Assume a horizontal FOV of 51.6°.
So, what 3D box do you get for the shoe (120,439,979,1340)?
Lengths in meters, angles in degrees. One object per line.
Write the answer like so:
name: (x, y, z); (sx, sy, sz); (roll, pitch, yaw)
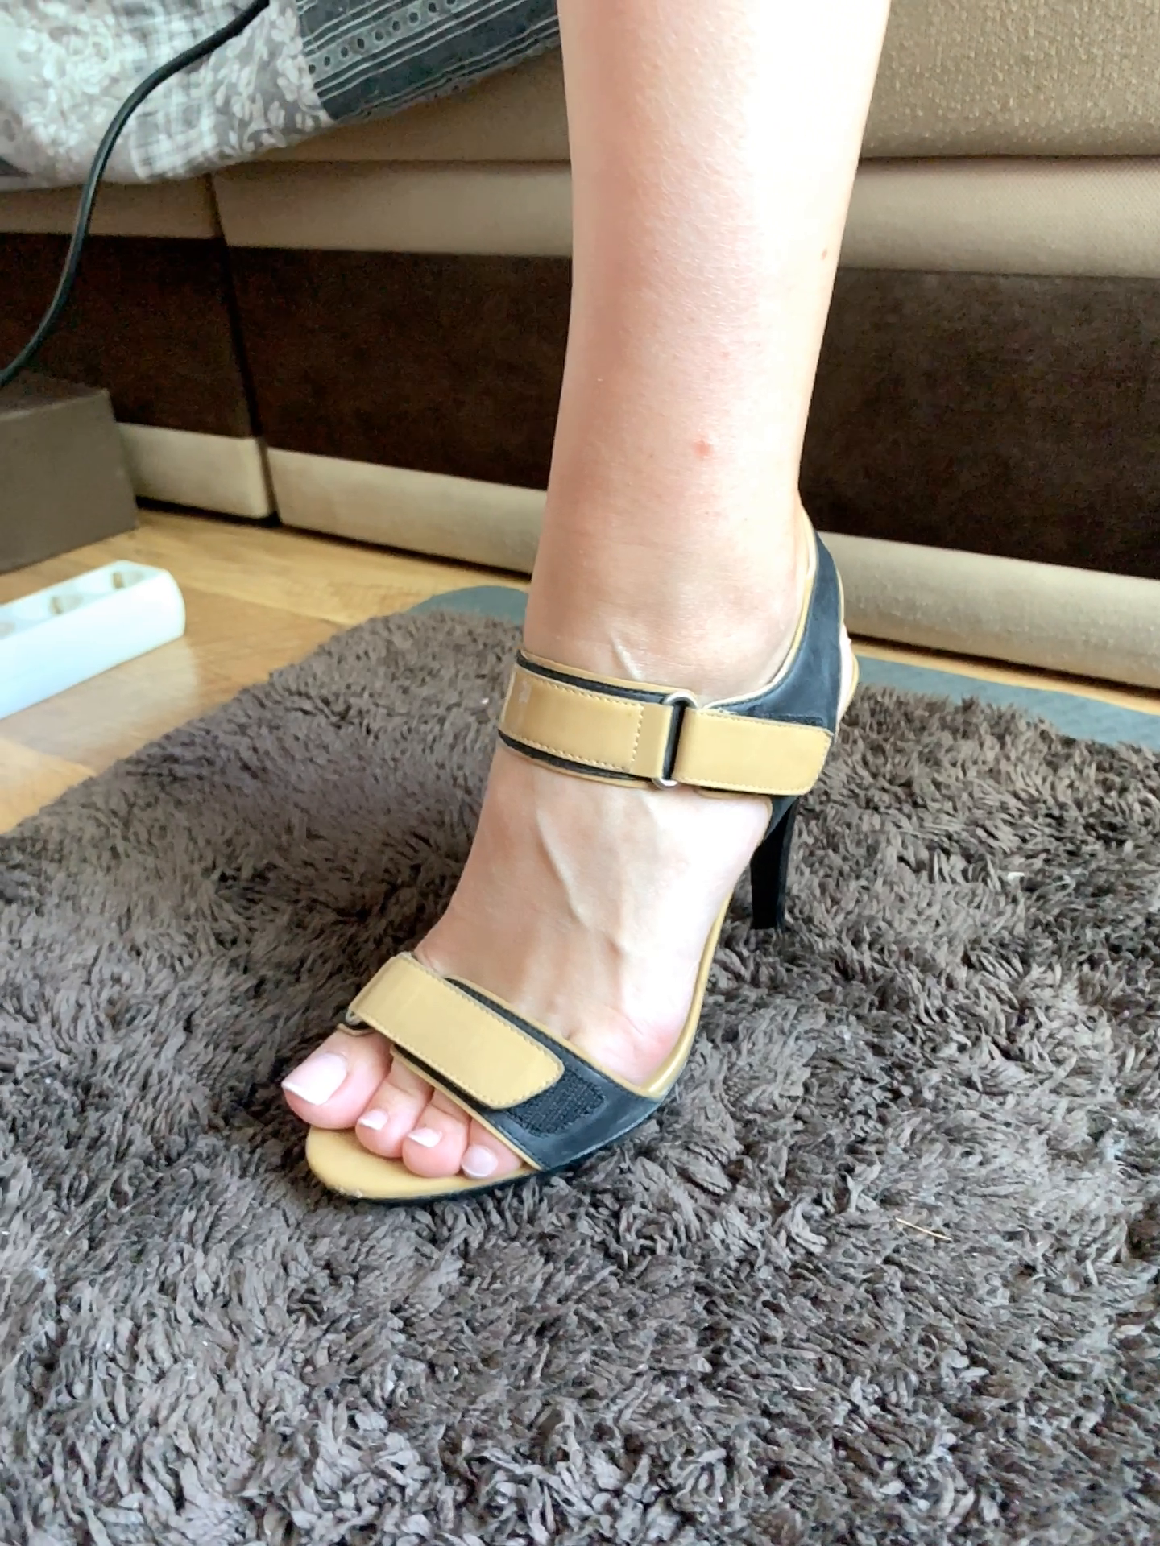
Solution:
shoe: (0.007, 0.013, 0.328); (0.200, 0.149, 0.090); (-28, 38, -36)
